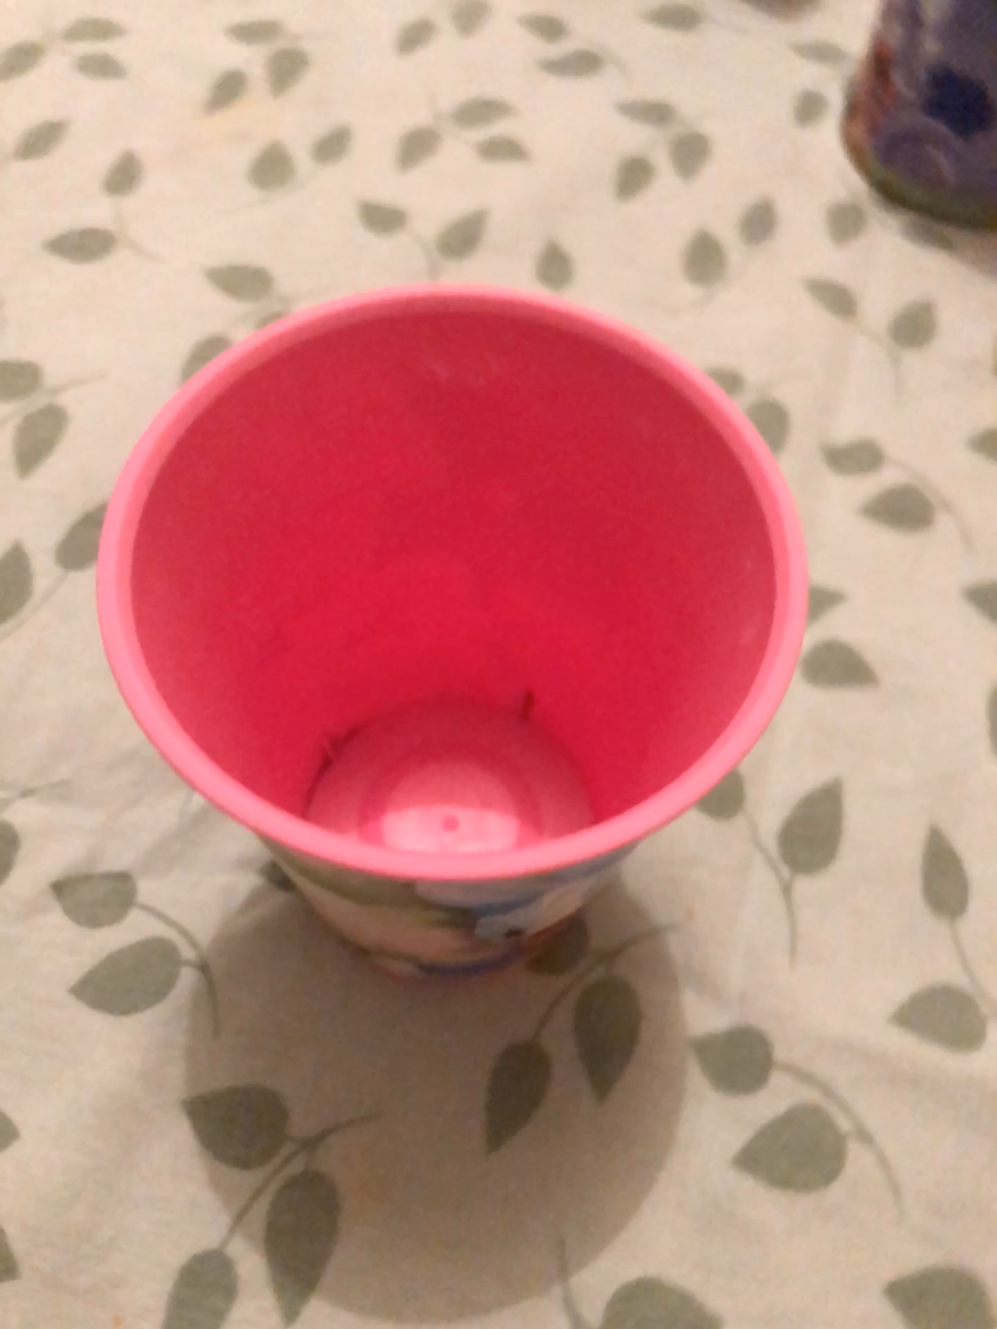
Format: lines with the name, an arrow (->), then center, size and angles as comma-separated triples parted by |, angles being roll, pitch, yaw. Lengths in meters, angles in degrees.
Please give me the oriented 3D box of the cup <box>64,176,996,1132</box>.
cup -> -0.002, 0.008, 0.190 | 0.100, 0.119, 0.100 | 1, 62, -2
